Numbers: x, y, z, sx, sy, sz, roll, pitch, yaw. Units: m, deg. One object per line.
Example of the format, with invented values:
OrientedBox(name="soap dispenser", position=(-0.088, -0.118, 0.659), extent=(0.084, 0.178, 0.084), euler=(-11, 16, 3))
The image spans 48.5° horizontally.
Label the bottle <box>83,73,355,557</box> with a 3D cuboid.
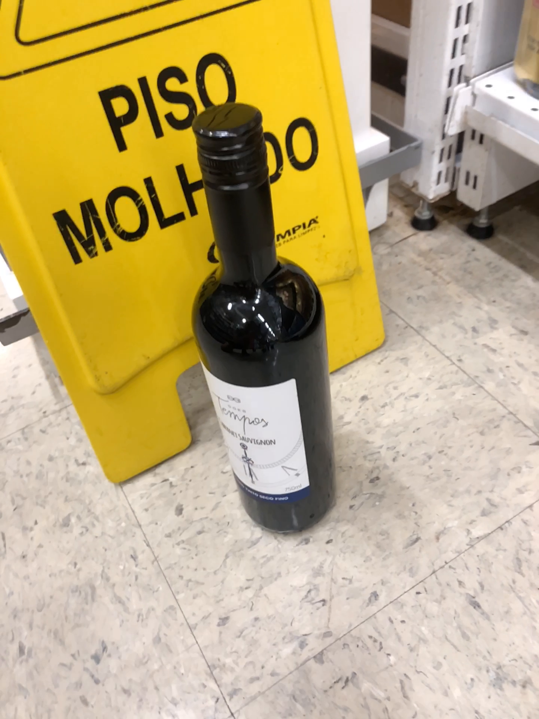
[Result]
OrientedBox(name="bottle", position=(-0.004, 0.003, 0.340), extent=(0.080, 0.288, 0.070), euler=(19, 53, 24))
